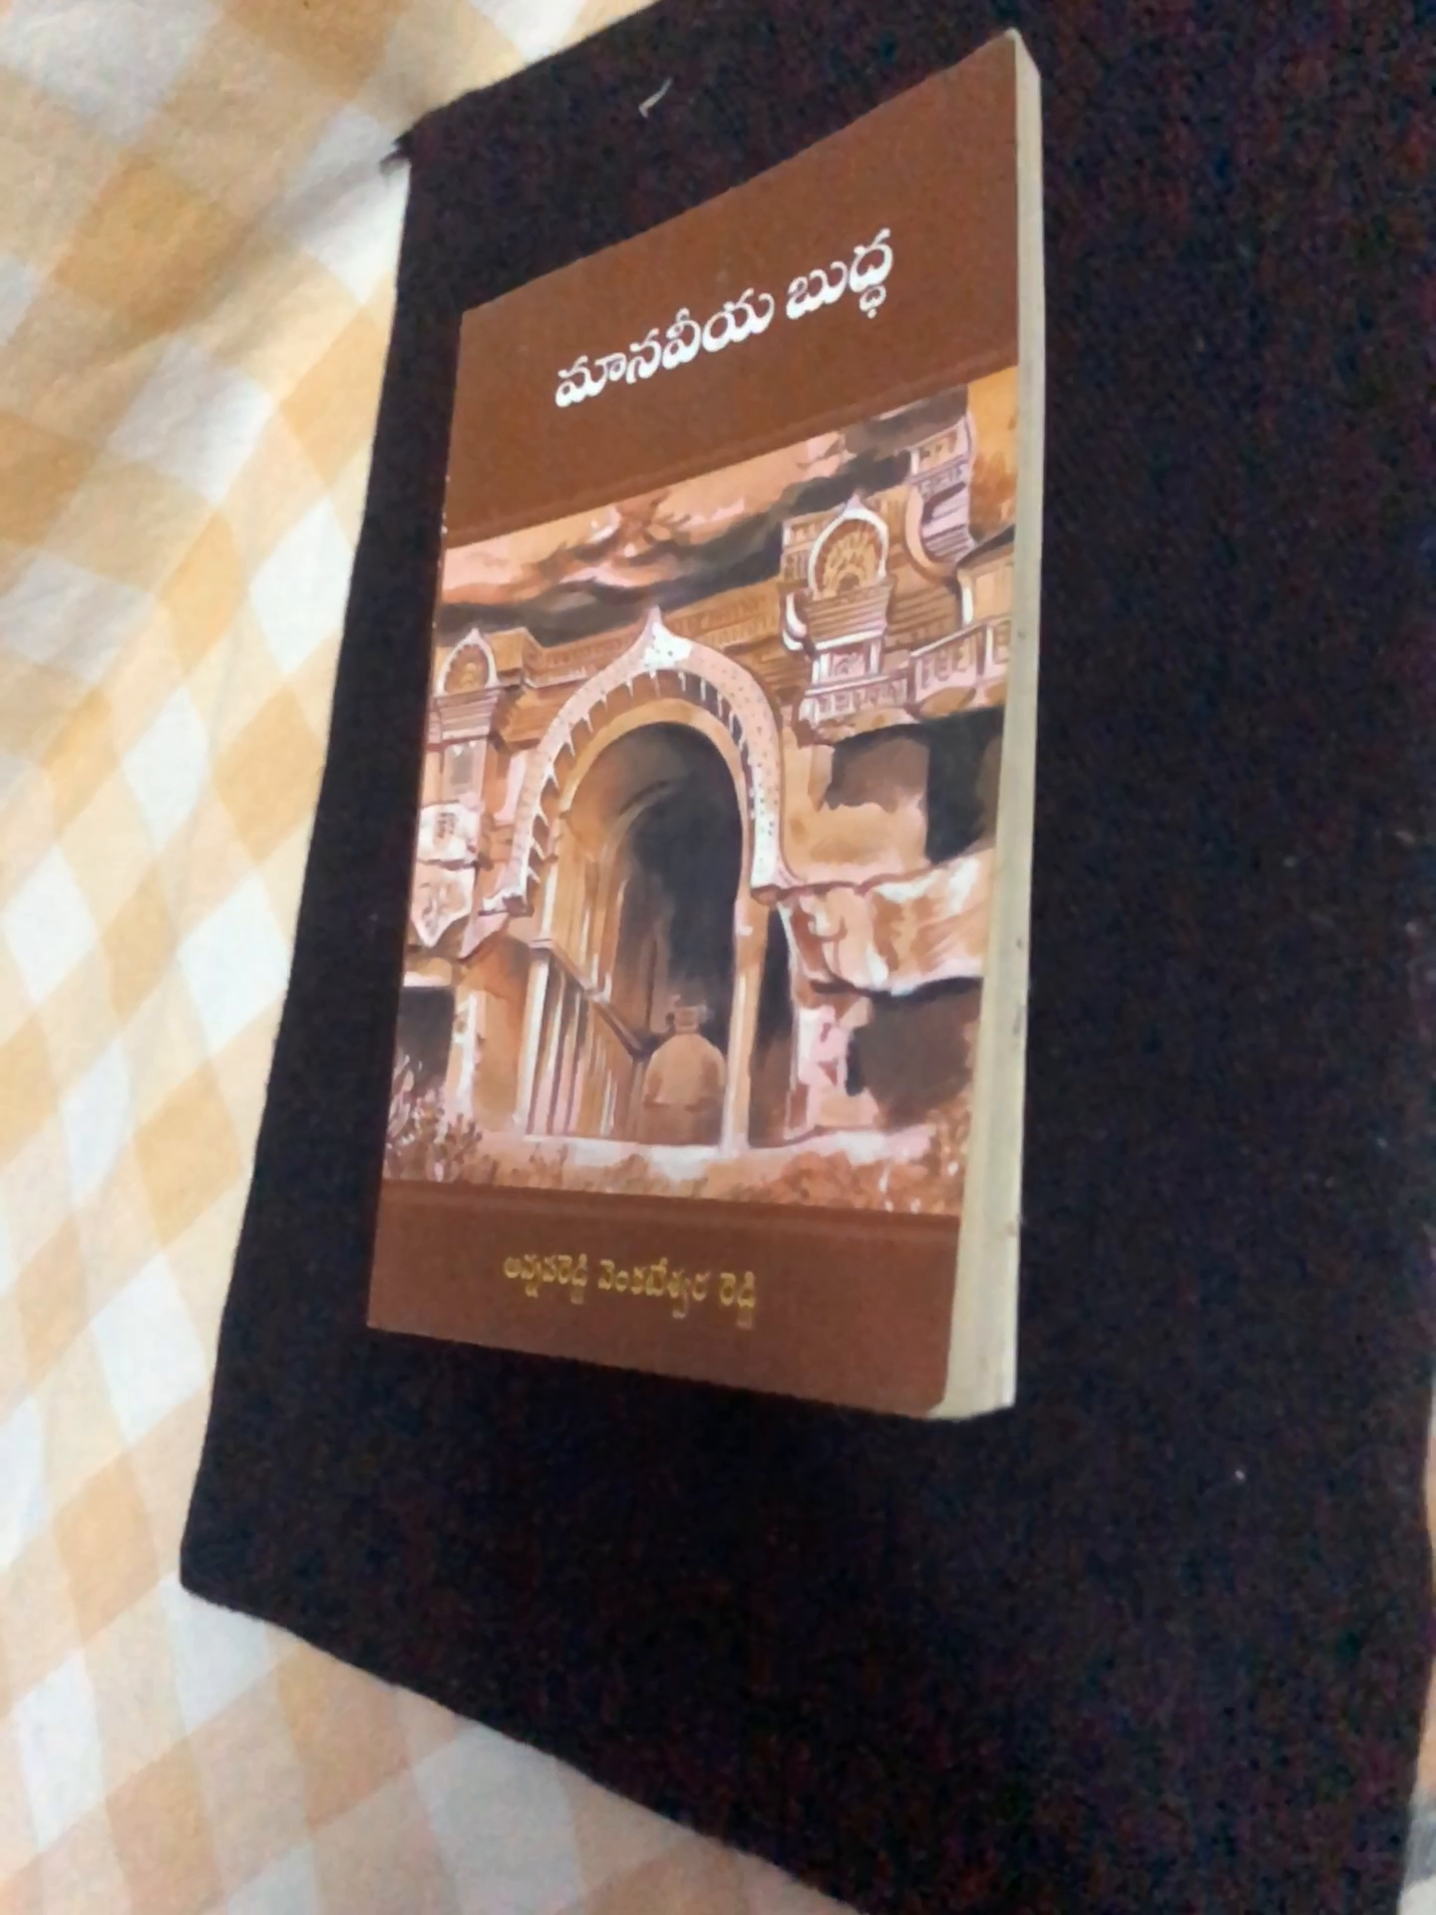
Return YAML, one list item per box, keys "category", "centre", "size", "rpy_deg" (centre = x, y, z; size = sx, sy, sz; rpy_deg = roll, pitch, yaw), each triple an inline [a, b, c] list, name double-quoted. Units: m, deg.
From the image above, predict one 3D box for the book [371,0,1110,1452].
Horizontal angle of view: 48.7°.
- category: "book"
  centre: [-0.001, -0.041, 0.286]
  size: [0.140, 0.020, 0.230]
  rpy_deg: [-5, 77, 42]
